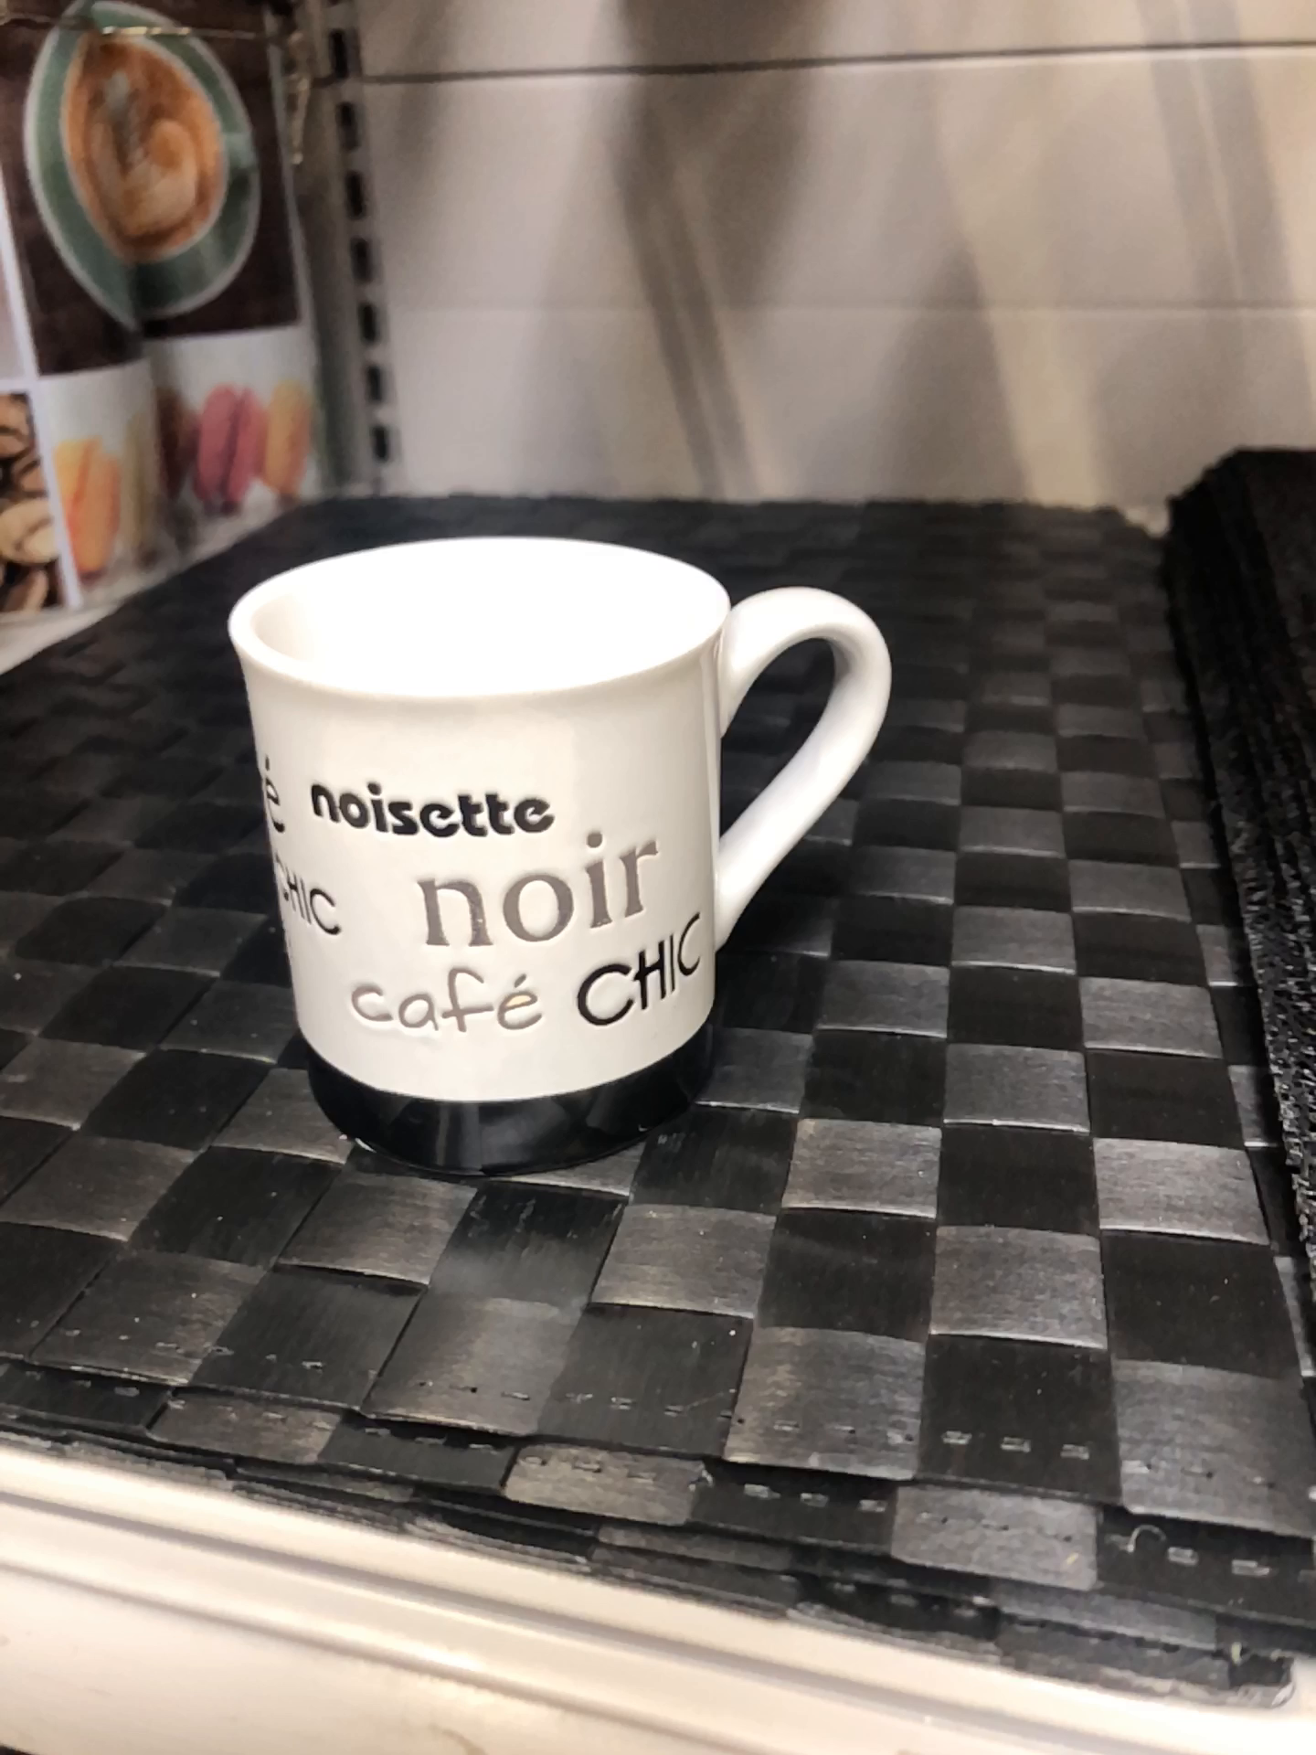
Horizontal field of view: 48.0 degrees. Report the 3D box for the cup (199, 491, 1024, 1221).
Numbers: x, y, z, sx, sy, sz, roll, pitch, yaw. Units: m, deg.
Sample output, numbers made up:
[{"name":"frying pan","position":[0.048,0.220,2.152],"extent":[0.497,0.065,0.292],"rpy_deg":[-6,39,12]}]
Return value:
[{"name":"cup","position":[-0.009,-0.010,0.208],"extent":[0.092,0.066,0.068],"rpy_deg":[-10,28,-16]}]
